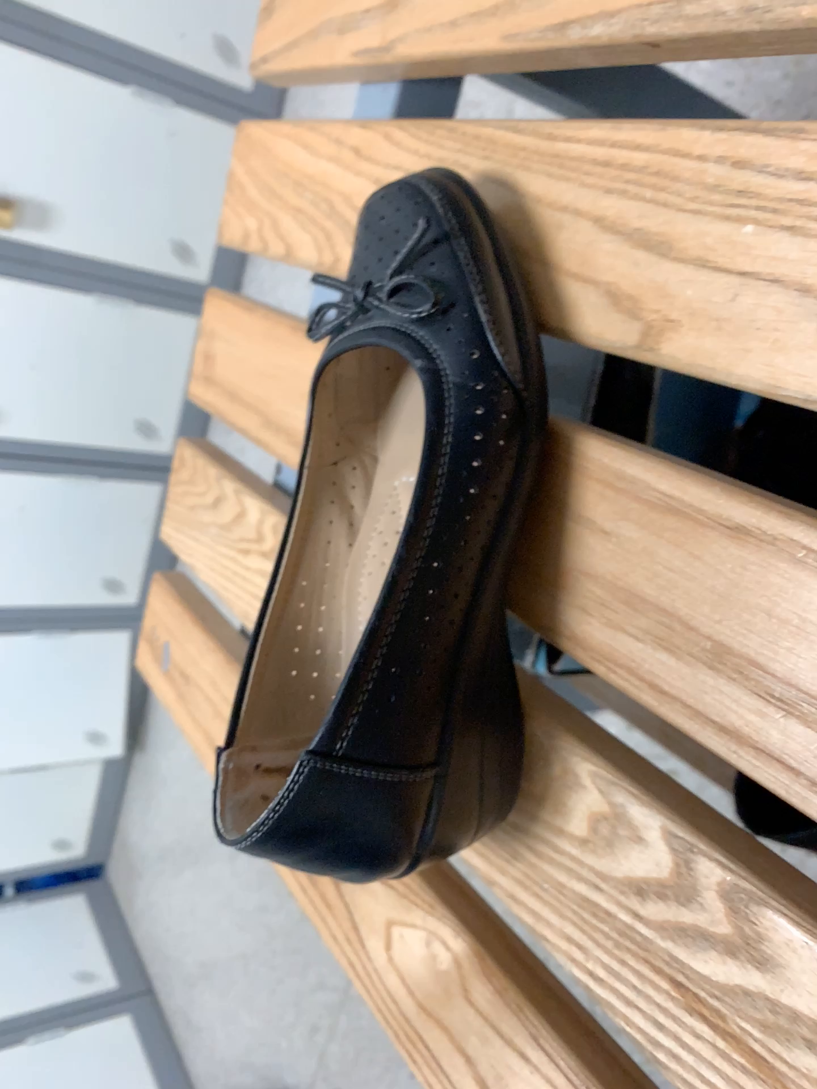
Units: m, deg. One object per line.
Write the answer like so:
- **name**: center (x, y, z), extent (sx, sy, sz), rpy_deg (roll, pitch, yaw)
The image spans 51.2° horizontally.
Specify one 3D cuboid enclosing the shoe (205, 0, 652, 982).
- **shoe**: center (0.011, -0.020, 0.290), extent (0.087, 0.109, 0.272), rpy_deg (-7, 78, 52)
